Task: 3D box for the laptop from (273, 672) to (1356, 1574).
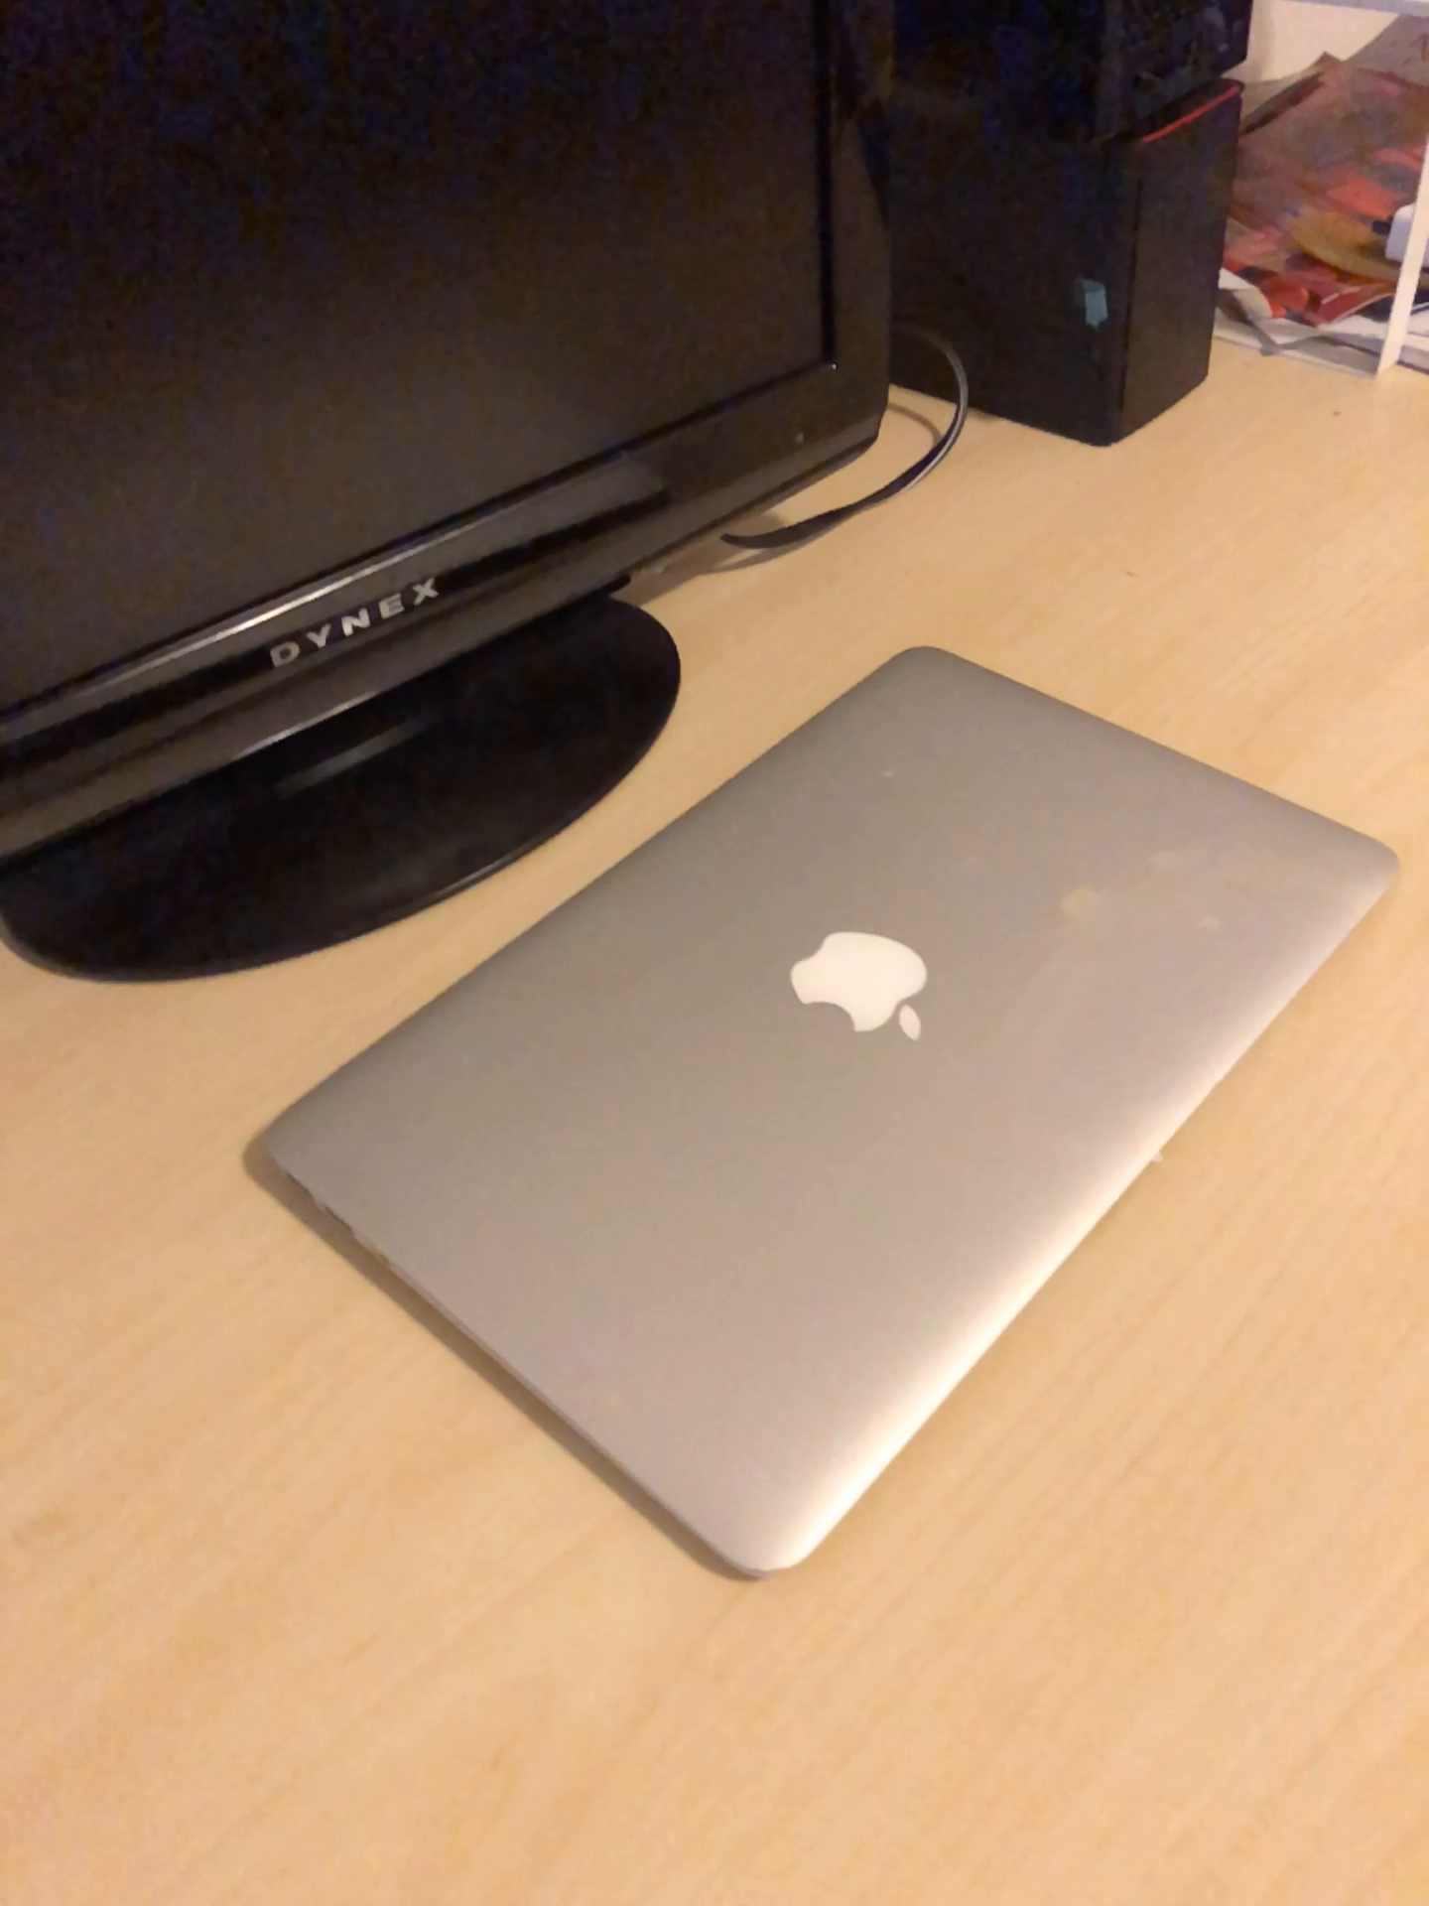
[{"bbox_3d":[0.038,0.016,0.457,0.181,0.005,0.279,31,54,30],"label":"laptop"}]
